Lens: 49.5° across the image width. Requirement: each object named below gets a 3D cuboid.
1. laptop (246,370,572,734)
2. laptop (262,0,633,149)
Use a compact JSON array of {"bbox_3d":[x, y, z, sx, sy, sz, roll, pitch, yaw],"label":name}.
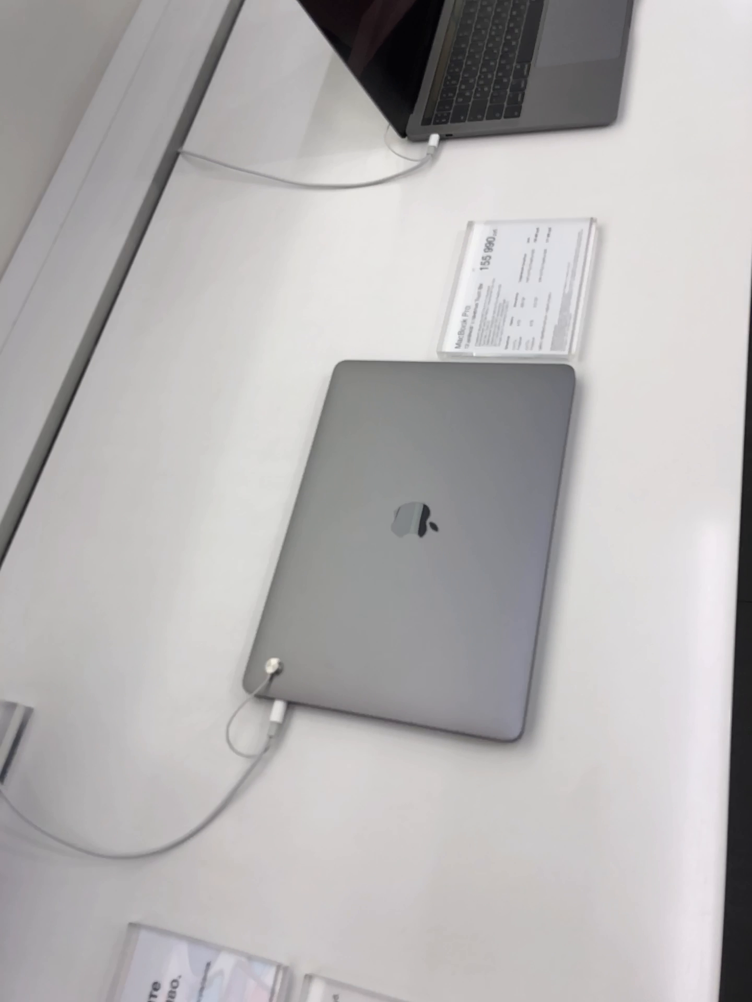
[{"bbox_3d":[0.029,0.020,0.627,0.202,0.001,0.279,6,67,20],"label":"laptop"},{"bbox_3d":[0.094,-0.537,0.788,0.276,0.187,0.309,2,63,17],"label":"laptop"}]
